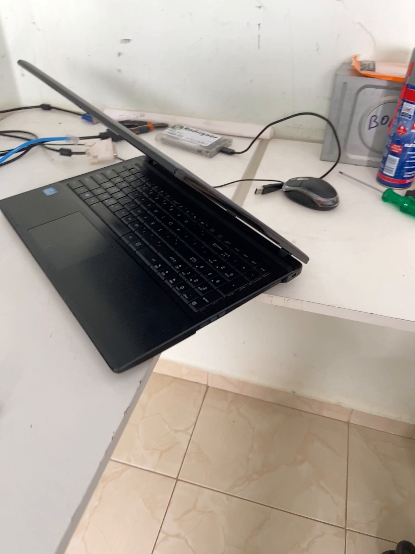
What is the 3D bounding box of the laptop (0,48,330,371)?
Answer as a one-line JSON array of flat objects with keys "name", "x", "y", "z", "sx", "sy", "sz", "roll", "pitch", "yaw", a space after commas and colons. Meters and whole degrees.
[{"name": "laptop", "x": -0.098, "y": -0.125, "z": 0.516, "sx": 0.247, "sy": 0.165, "sz": 0.377, "roll": -26, "pitch": 47, "yaw": -26}]
